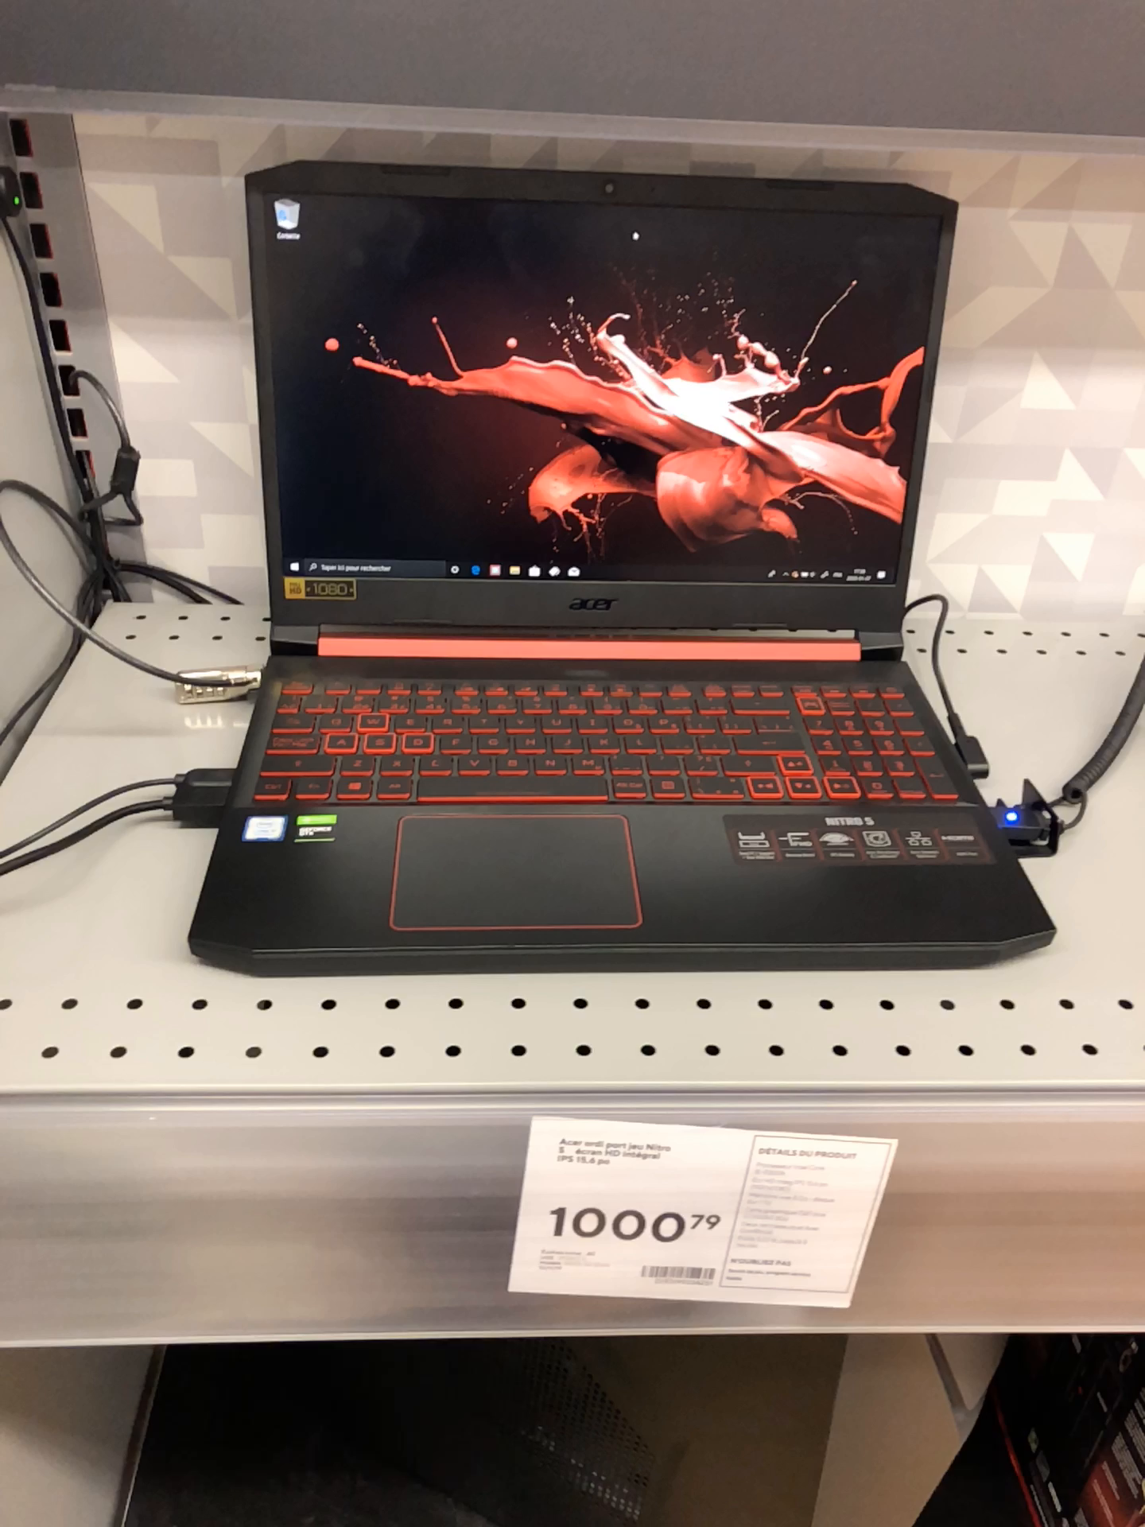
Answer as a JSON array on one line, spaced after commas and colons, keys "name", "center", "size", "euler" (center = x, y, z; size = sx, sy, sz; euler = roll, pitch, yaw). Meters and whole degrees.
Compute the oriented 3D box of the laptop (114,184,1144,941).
[{"name": "laptop", "center": [0.025, -0.106, 0.590], "size": [0.361, 0.241, 0.282], "euler": [0, 35, -5]}]
